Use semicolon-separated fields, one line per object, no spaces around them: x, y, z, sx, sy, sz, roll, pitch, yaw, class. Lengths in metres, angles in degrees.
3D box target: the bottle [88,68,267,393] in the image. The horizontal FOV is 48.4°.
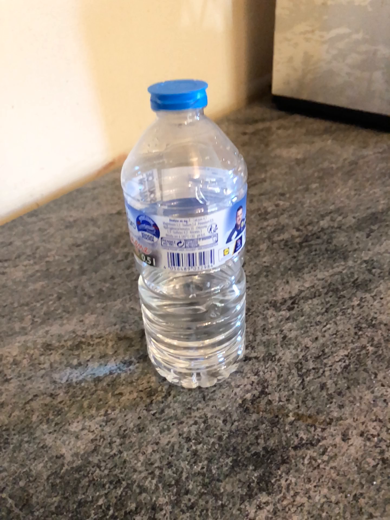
0.000;-0.009;0.246;0.070;0.169;0.070;-3;35;2;bottle
